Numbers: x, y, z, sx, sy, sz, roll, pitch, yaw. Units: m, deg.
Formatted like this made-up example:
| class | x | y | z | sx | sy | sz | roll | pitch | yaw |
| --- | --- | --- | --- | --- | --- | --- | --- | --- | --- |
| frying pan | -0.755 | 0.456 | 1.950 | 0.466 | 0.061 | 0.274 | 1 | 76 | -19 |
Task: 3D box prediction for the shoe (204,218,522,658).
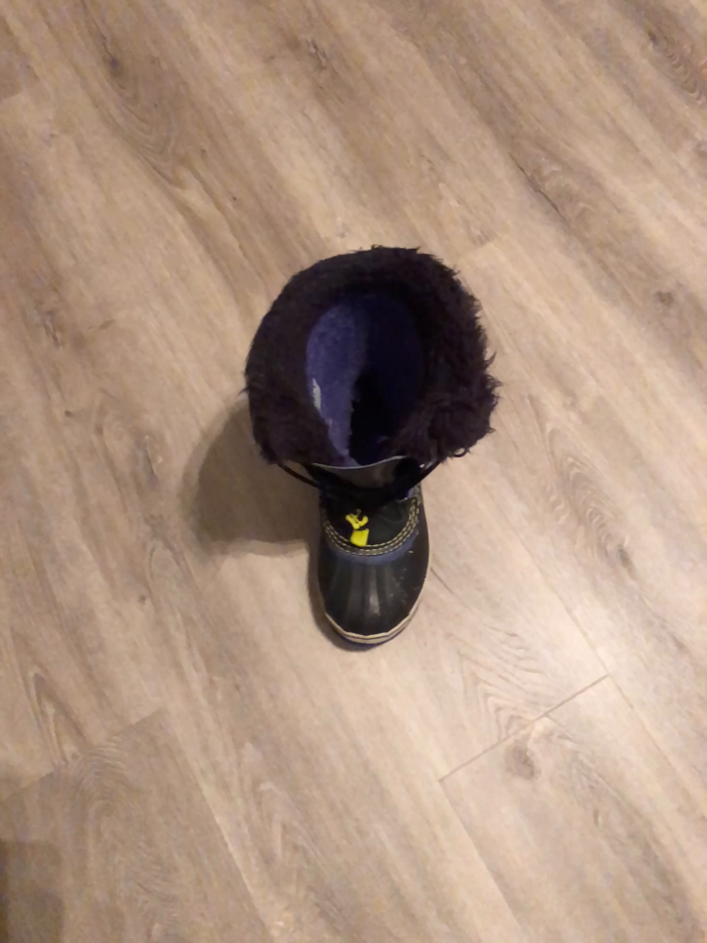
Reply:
| class | x | y | z | sx | sy | sz | roll | pitch | yaw |
| --- | --- | --- | --- | --- | --- | --- | --- | --- | --- |
| shoe | 0.016 | 0.000 | 0.584 | 0.170 | 0.270 | 0.240 | 3 | 72 | 3 |
